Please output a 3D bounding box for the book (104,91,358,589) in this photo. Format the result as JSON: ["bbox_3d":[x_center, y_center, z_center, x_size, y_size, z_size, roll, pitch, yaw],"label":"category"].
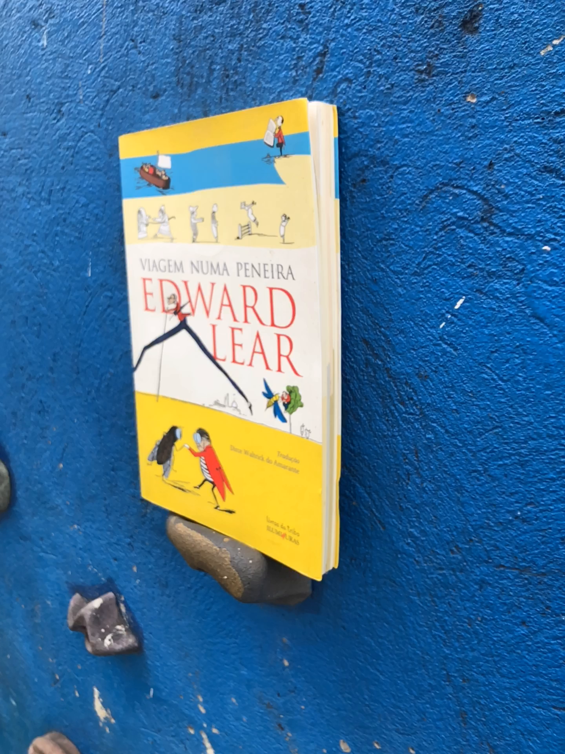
[{"bbox_3d":[-0.031,-0.020,0.333,0.158,0.219,0.021,11,18,41],"label":"book"}]
